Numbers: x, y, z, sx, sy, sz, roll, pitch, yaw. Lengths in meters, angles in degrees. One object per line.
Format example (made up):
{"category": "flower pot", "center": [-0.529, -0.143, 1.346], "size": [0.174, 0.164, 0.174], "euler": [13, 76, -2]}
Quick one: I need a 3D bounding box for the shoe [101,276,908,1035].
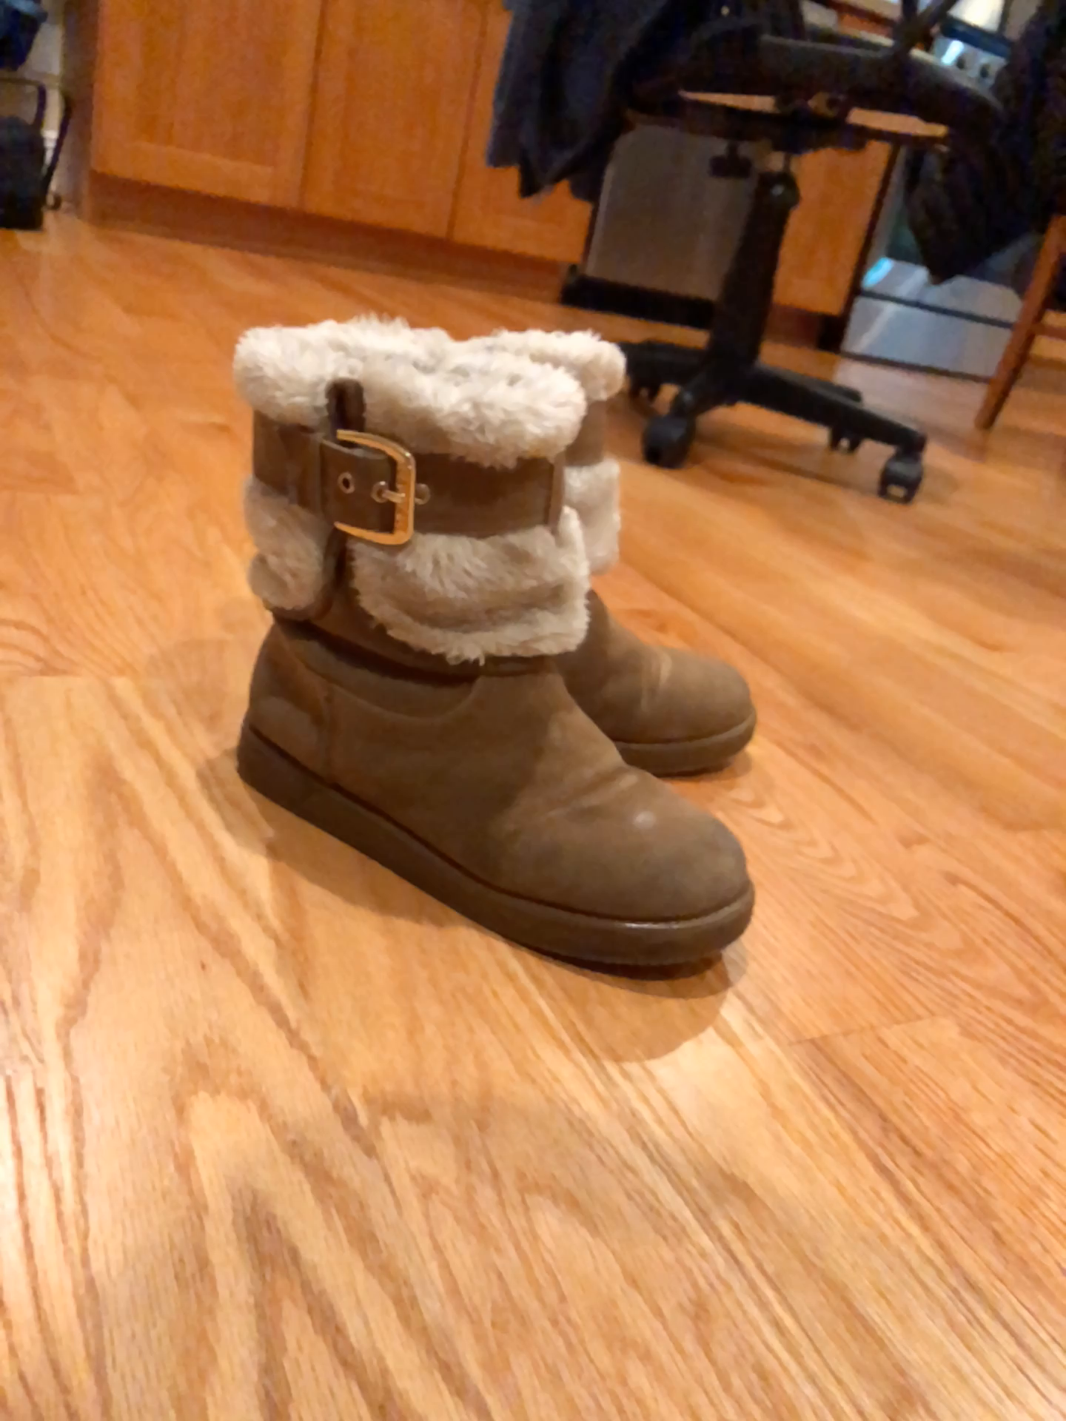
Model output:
{"category": "shoe", "center": [-0.022, -0.035, 0.448], "size": [0.254, 0.193, 0.107], "euler": [20, 24, 19]}

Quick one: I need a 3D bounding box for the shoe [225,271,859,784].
{"category": "shoe", "center": [-0.008, -0.083, 0.574], "size": [0.254, 0.193, 0.113], "euler": [4, 24, -19]}
